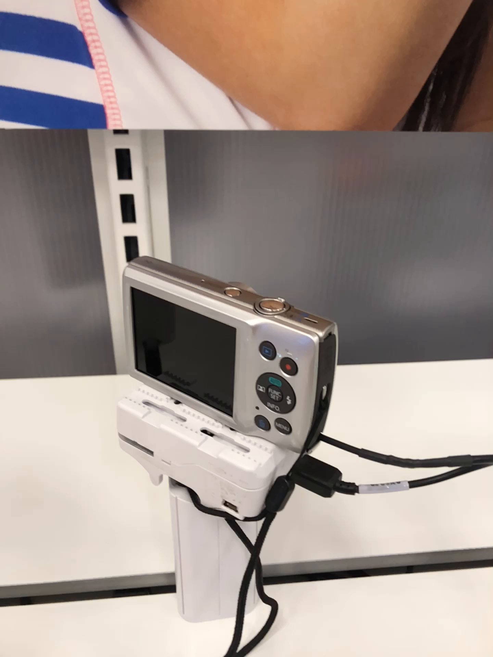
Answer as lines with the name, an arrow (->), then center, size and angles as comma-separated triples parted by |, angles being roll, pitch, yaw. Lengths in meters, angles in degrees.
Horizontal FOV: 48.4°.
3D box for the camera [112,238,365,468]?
camera -> -0.005, 0.005, 0.224 | 0.089, 0.055, 0.043 | 20, 35, 29
